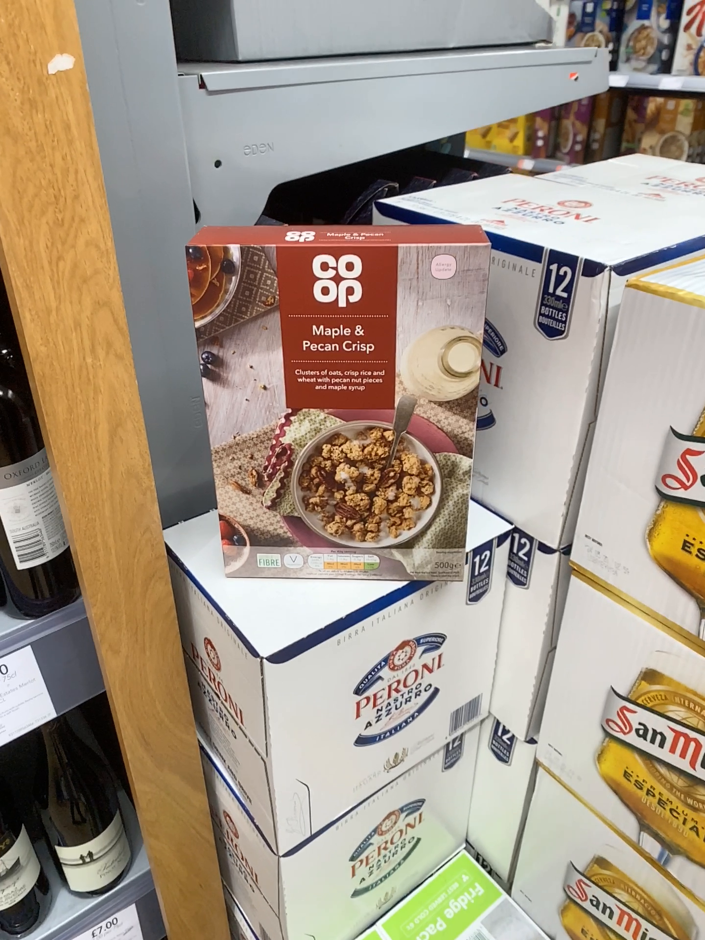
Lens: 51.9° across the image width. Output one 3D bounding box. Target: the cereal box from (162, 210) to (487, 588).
[{"bbox_3d":[-0.014,-0.039,0.487,0.180,0.248,0.061,0,29,1],"label":"cereal box"}]
